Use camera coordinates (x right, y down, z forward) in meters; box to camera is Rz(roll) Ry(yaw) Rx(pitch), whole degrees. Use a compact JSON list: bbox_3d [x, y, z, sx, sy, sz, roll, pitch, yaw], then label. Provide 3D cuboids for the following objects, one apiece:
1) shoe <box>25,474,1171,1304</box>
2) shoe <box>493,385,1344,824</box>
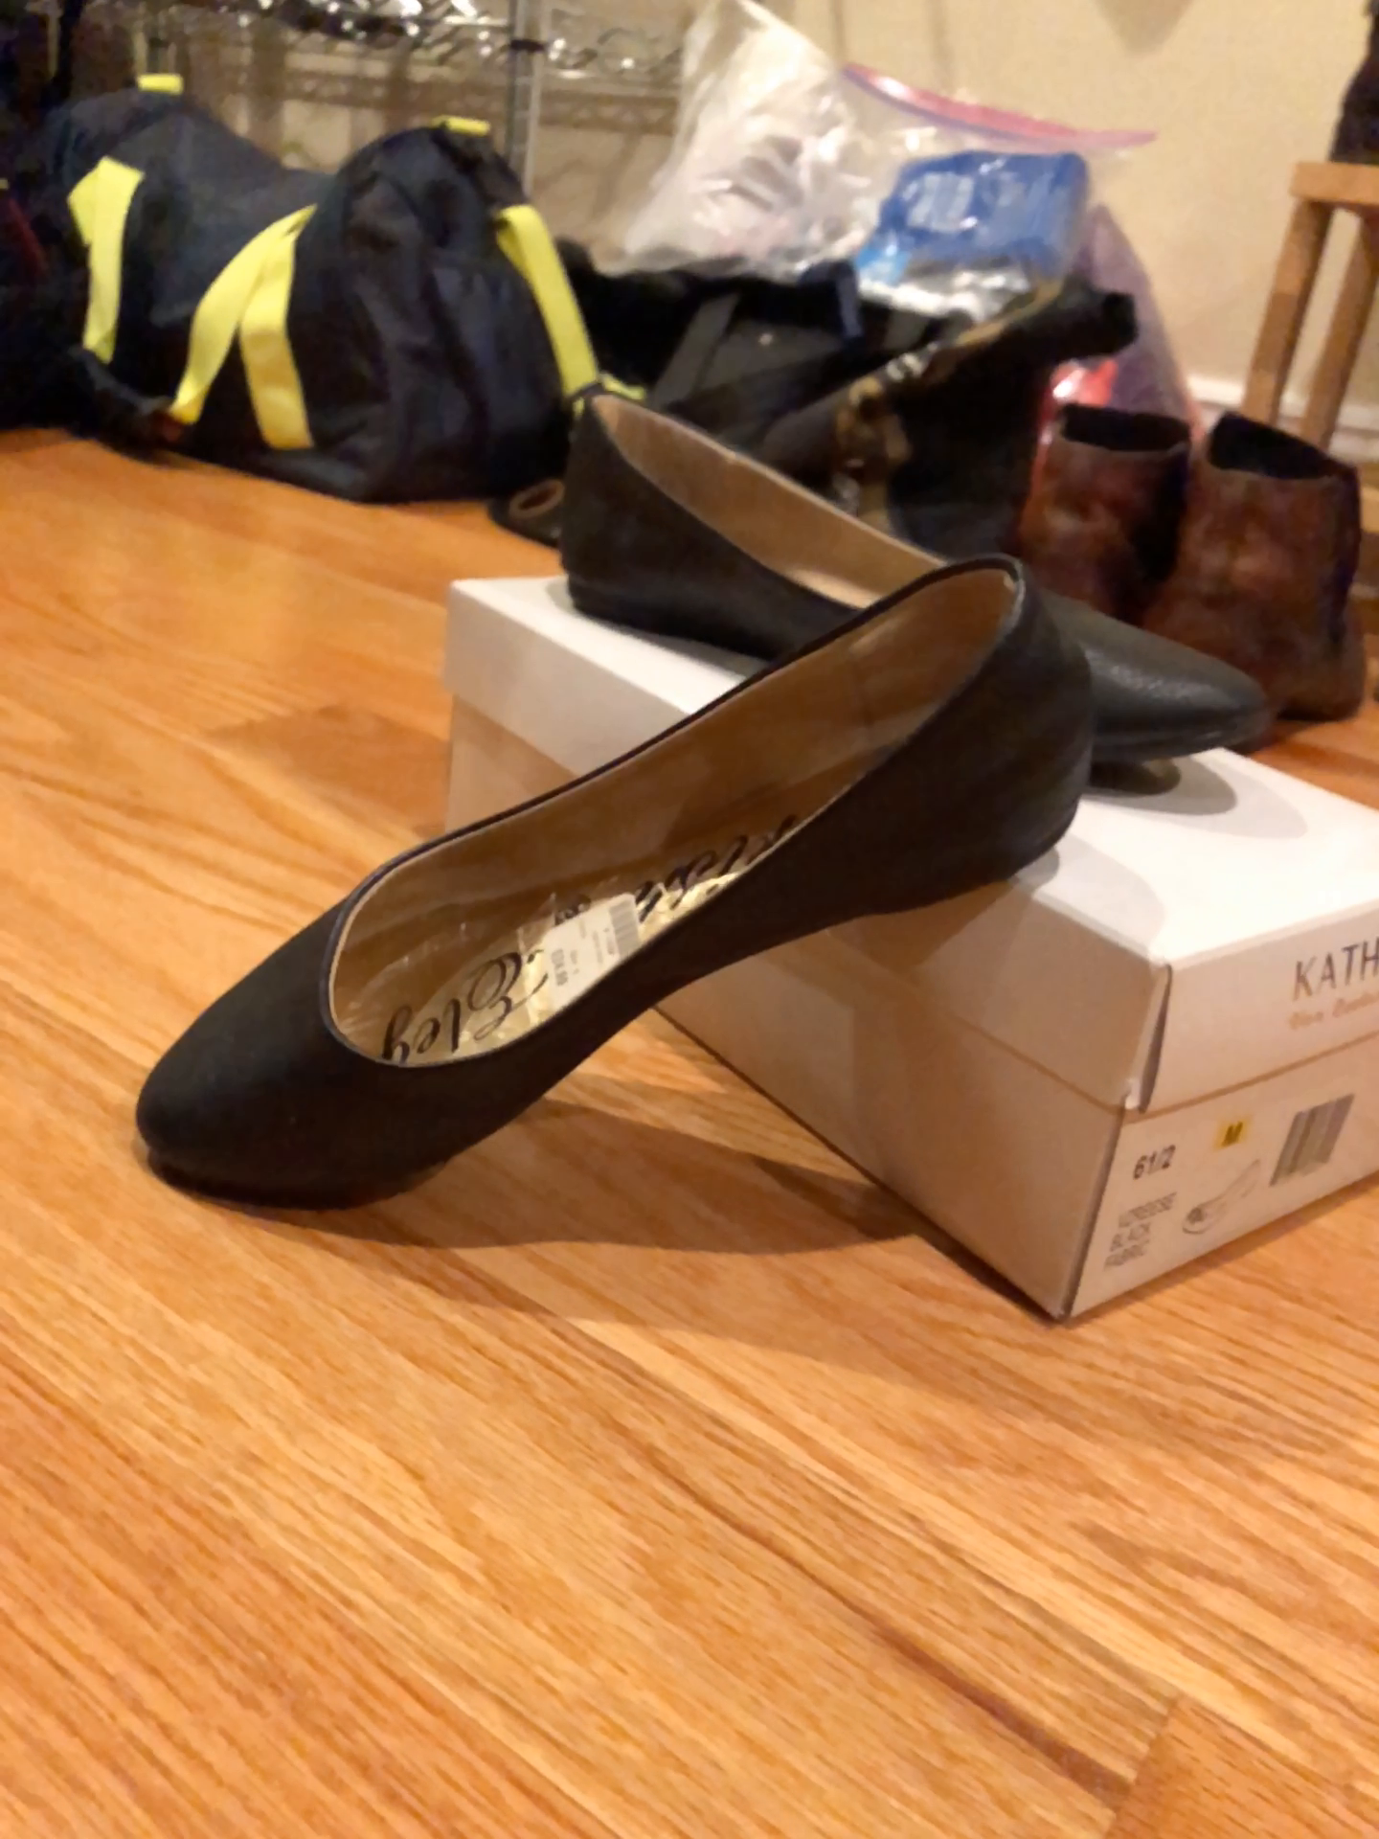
[{"bbox_3d":[-0.026,-0.003,0.346,0.239,0.060,0.076,-25,39,12],"label":"shoe"},{"bbox_3d":[0.051,-0.103,0.445,0.240,0.060,0.076,28,31,37],"label":"shoe"}]
